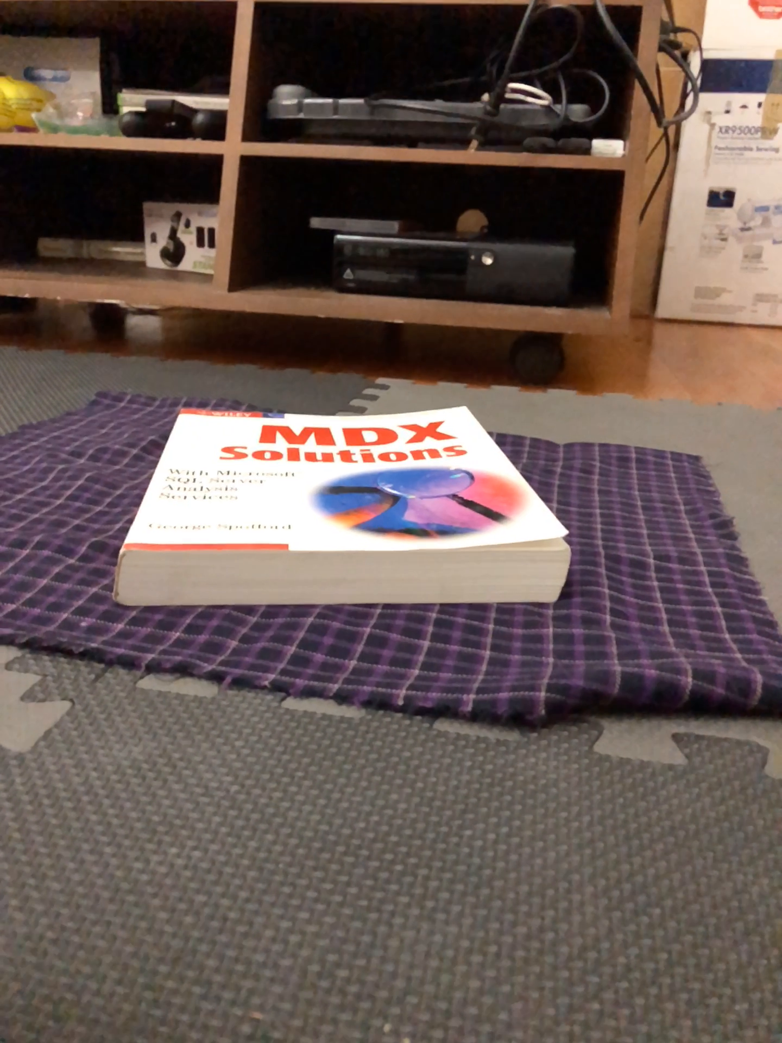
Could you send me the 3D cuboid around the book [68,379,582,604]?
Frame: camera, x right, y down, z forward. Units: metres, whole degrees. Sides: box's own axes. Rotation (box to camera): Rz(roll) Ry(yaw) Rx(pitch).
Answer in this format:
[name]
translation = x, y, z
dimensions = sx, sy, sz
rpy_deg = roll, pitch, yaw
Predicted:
[book]
translation = -0.041, -0.031, 0.500
dimensions = 0.220, 0.050, 0.261
rpy_deg = 0, 20, -8
